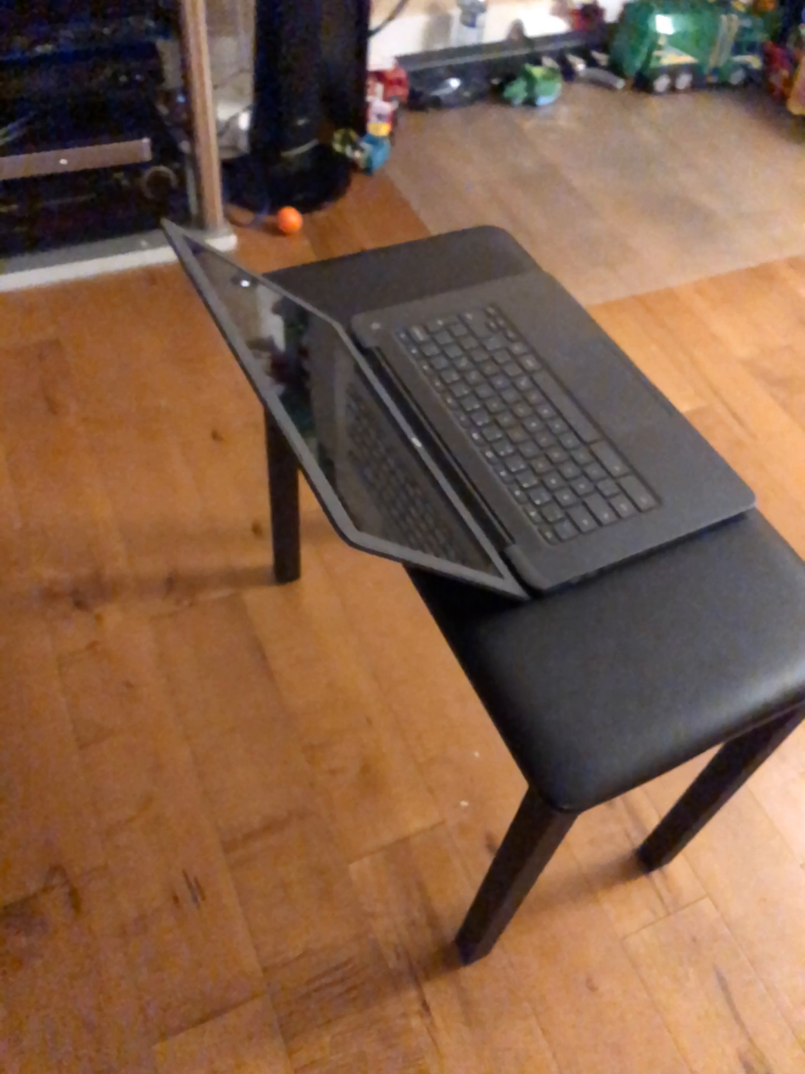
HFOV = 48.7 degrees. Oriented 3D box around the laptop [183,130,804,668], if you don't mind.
[{"bbox_3d":[0.066,-0.131,0.686,0.363,0.143,0.318,-21,57,-18],"label":"laptop"}]
